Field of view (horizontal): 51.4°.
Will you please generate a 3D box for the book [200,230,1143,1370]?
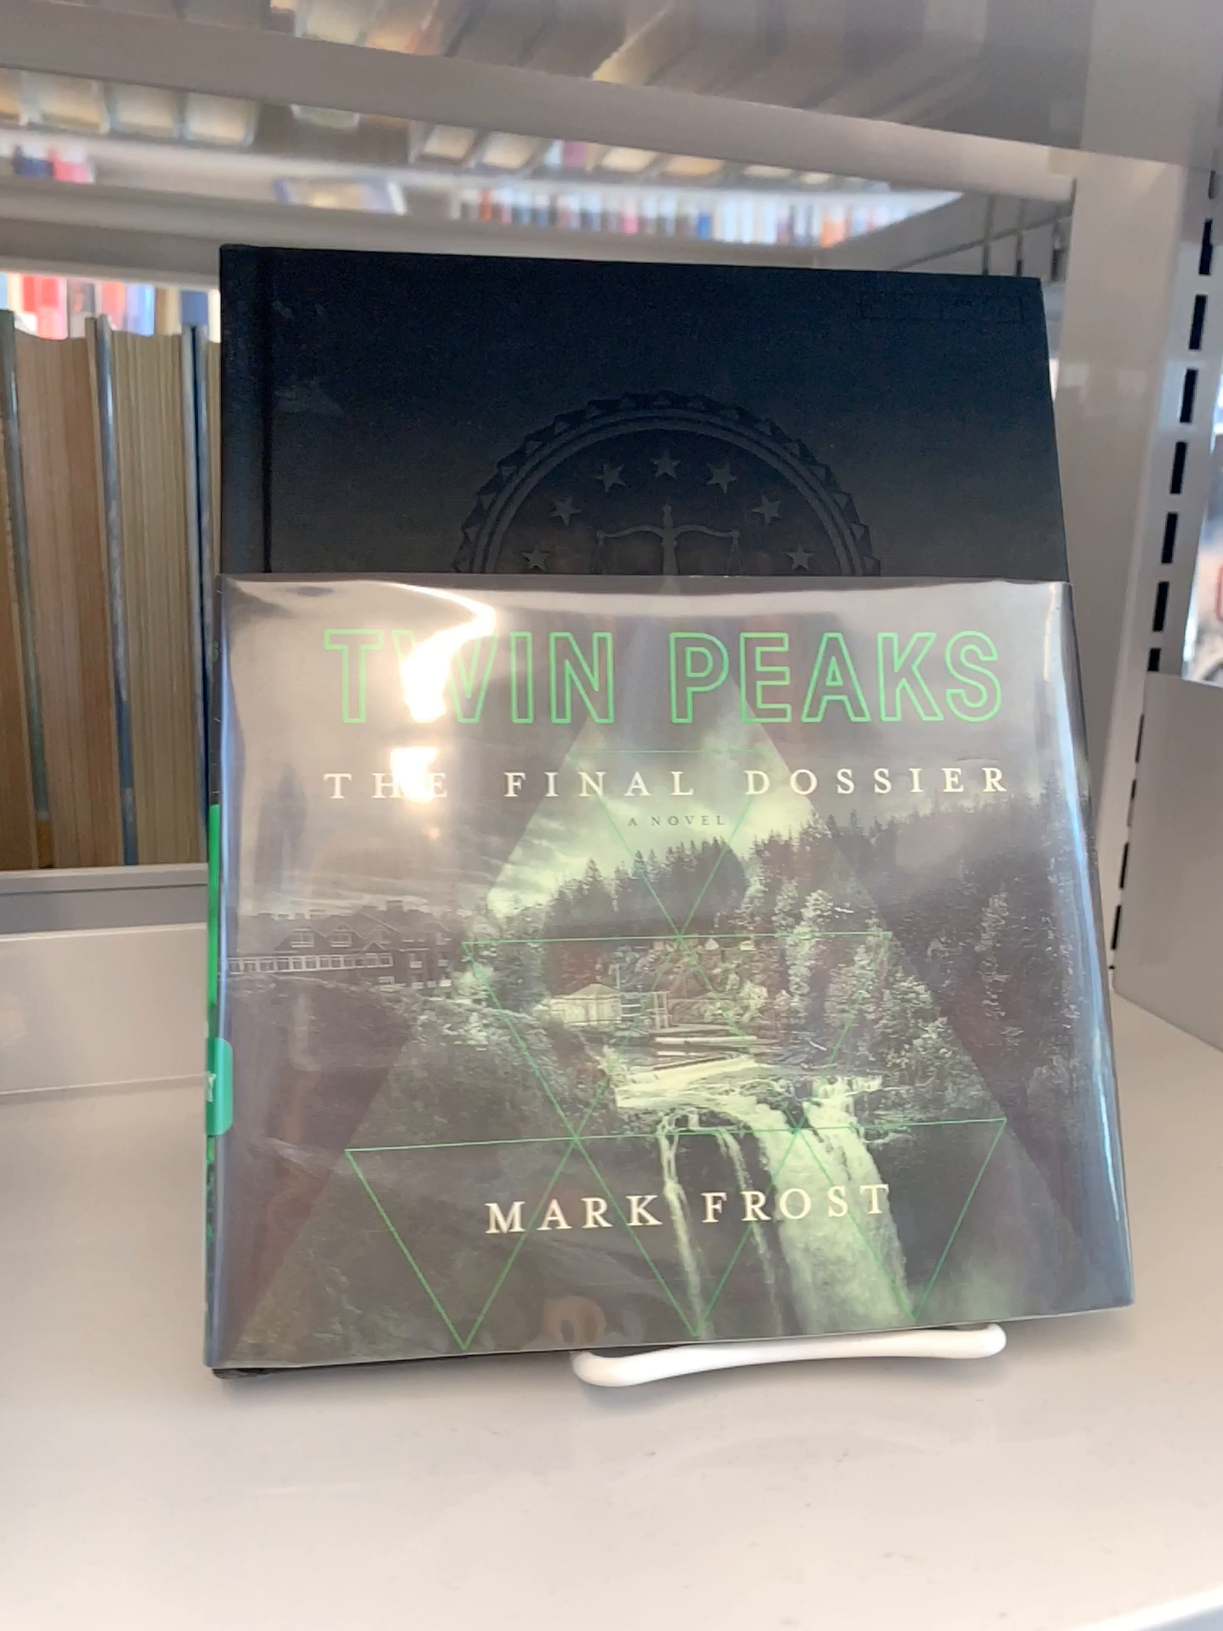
[{"bbox_3d":[0.013,-0.008,0.274,0.190,0.228,0.020,0,-6,-7],"label":"book"}]
